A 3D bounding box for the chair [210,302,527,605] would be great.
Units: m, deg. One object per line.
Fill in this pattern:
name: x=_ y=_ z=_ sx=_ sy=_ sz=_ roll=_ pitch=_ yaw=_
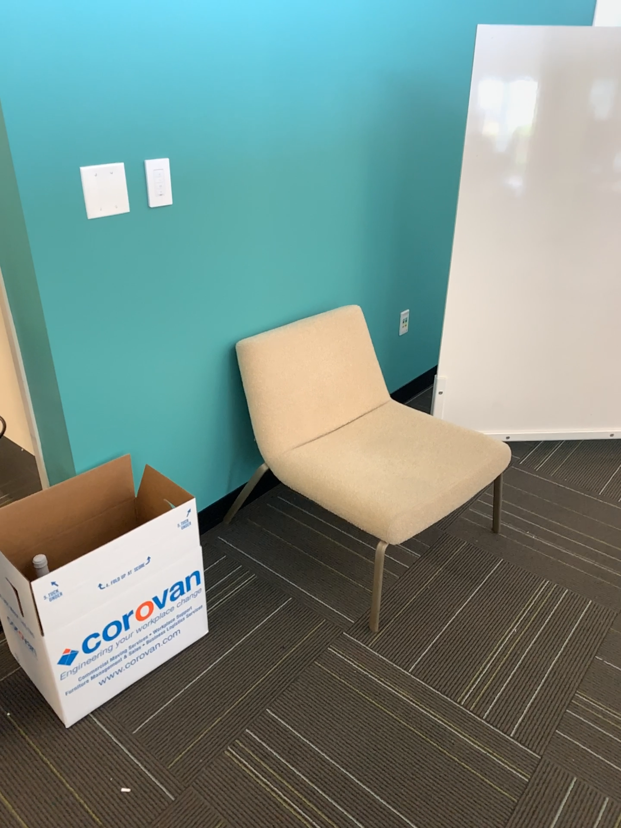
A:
chair: x=0.173 y=0.057 z=2.093 sx=0.733 sy=0.567 sz=0.661 roll=25 pitch=37 yaw=38
